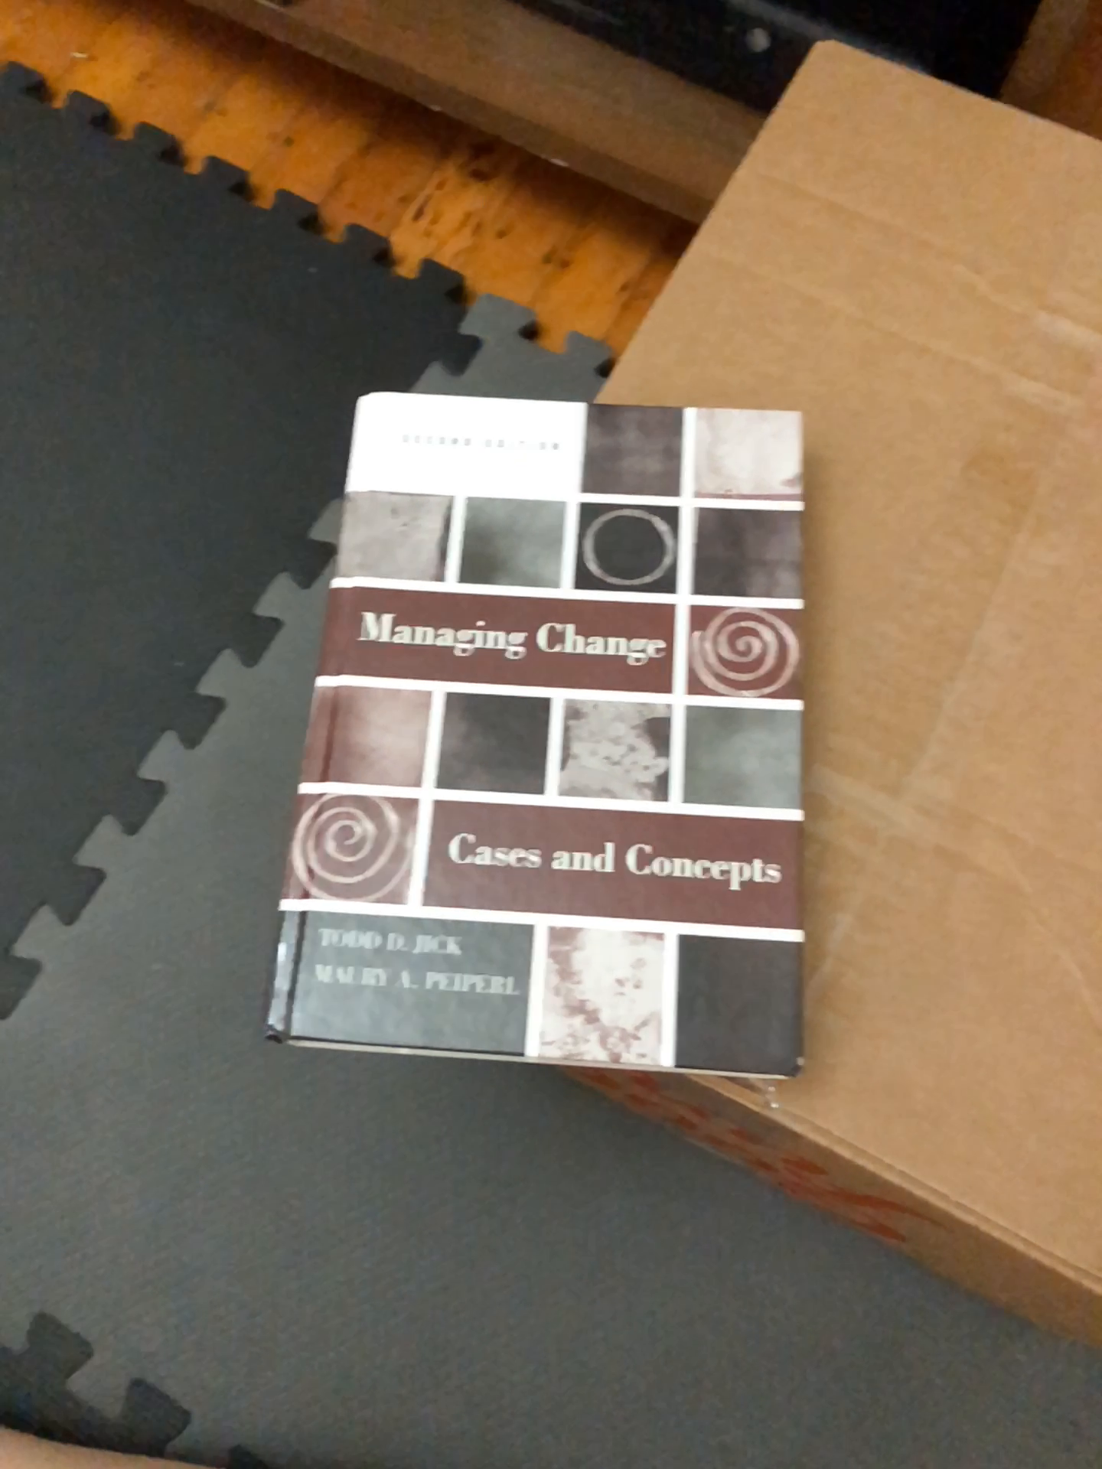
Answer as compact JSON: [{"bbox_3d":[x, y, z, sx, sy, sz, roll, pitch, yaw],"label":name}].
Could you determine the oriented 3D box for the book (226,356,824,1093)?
[{"bbox_3d":[0.000,-0.013,0.422,0.180,0.030,0.251,3,70,1],"label":"book"}]
